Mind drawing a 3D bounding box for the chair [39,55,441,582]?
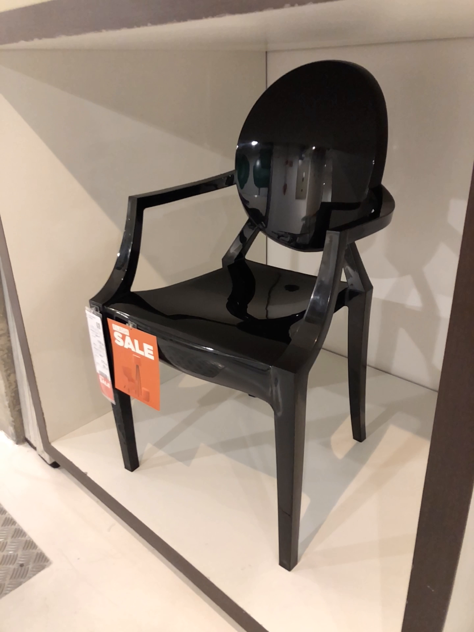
[{"bbox_3d":[0.030,-0.055,1.089,0.511,0.854,0.492,17,31,36],"label":"chair"}]
